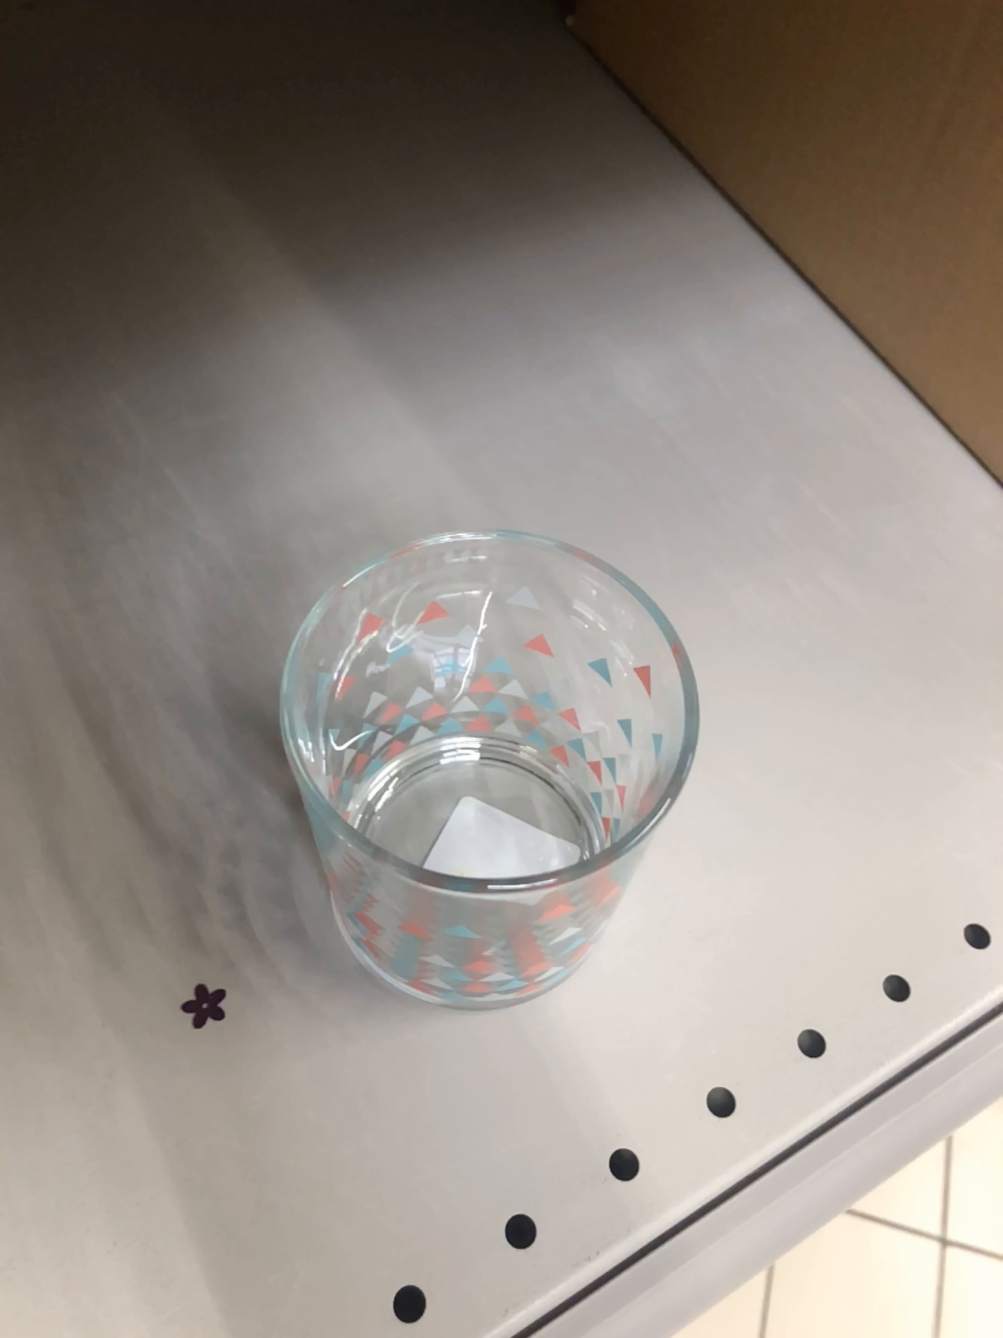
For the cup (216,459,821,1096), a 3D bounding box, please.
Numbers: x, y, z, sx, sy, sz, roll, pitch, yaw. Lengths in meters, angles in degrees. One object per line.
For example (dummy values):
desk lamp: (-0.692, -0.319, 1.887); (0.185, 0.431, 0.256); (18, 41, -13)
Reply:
cup: (-0.001, 0.024, 0.225); (0.077, 0.081, 0.076); (2, 58, -3)
